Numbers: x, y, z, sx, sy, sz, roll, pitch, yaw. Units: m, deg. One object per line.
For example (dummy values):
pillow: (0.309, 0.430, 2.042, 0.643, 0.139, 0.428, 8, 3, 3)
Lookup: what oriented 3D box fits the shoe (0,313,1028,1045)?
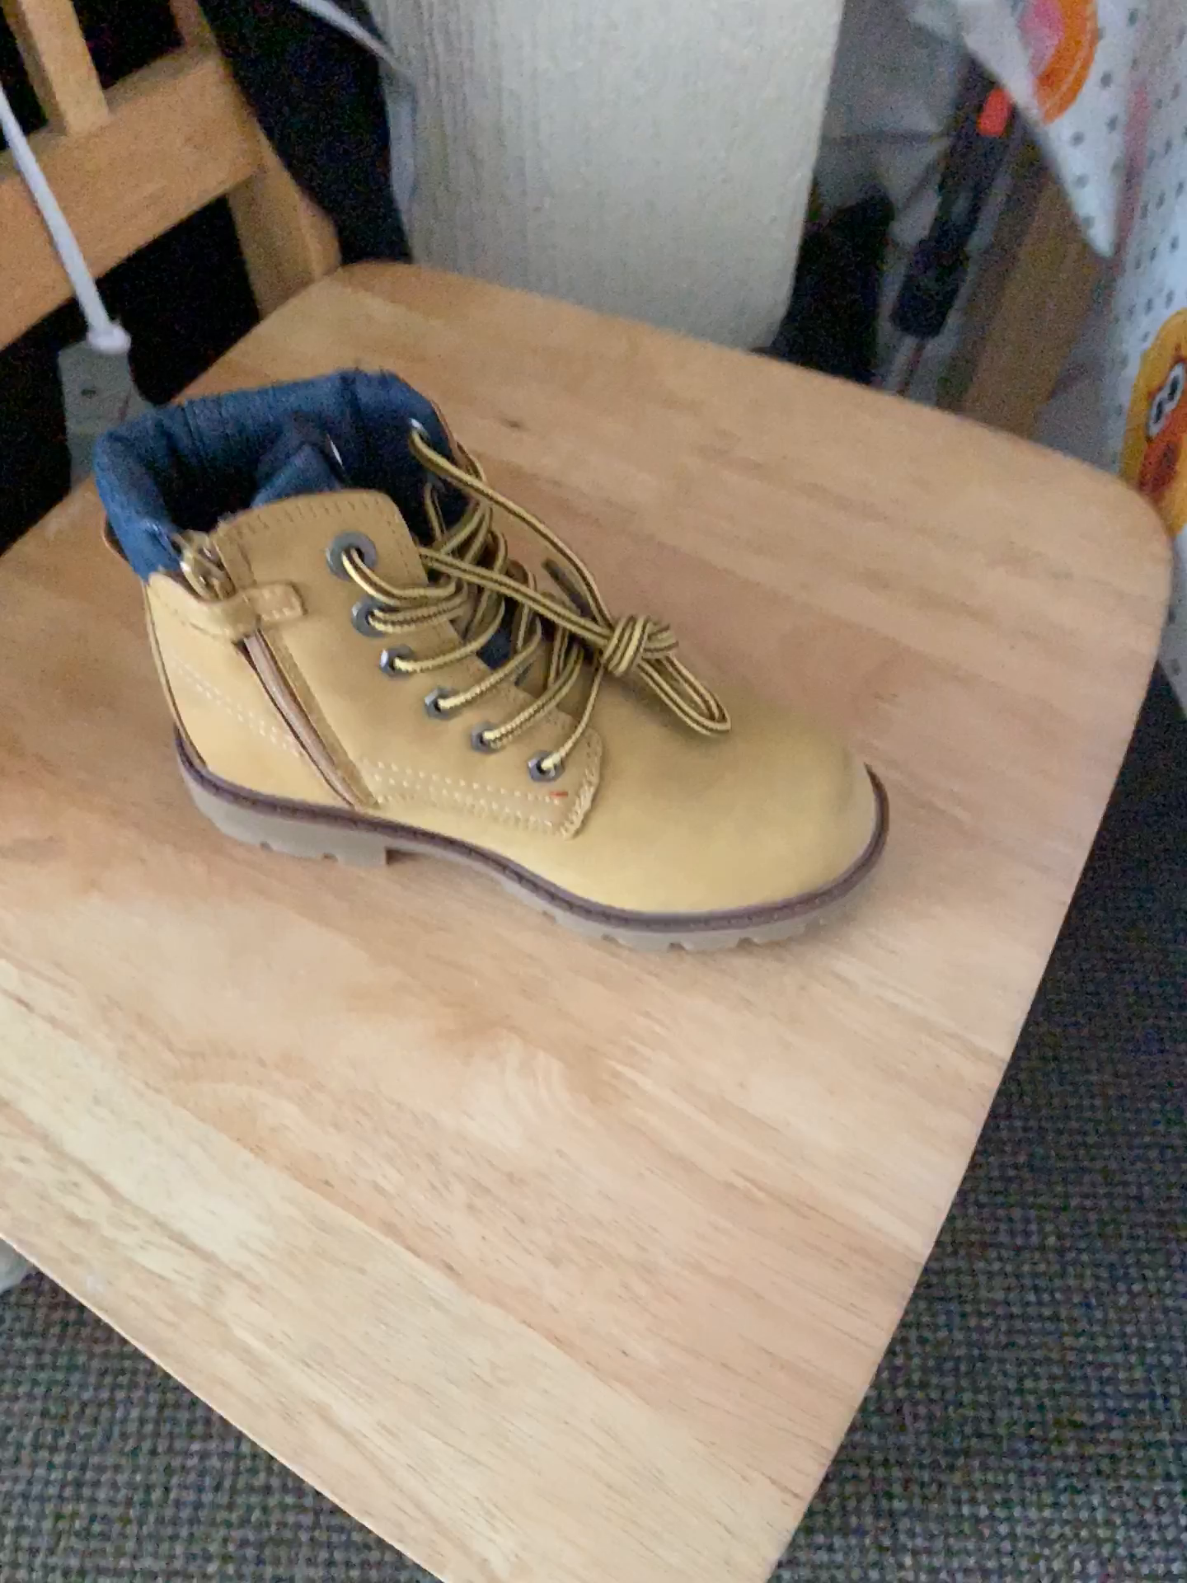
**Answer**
shoe: (-0.018, -0.025, 0.352, 0.230, 0.139, 0.101, 13, 60, 6)
